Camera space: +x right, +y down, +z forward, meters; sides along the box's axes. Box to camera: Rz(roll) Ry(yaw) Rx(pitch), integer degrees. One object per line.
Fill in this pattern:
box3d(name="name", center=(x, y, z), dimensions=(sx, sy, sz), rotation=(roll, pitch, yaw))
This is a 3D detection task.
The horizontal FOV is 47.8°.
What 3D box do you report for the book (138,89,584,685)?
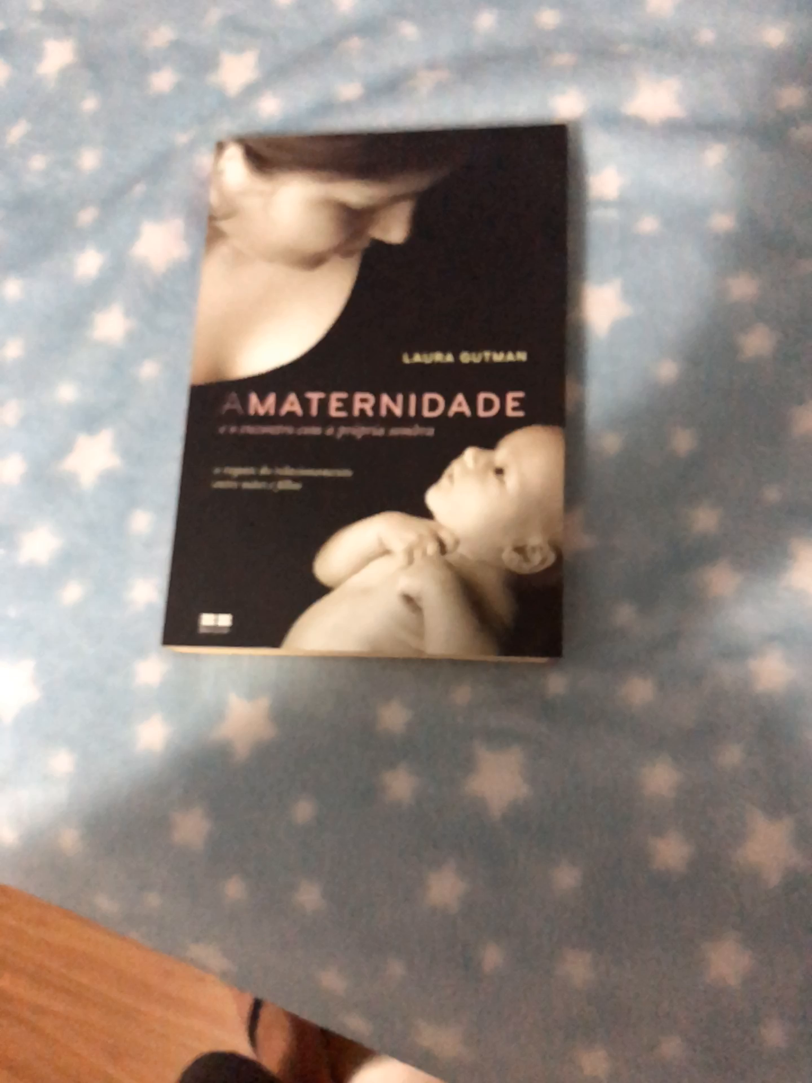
box3d(name="book", center=(-0.011, -0.068, 0.371), dimensions=(0.160, 0.030, 0.240), rotation=(1, 75, 8))
